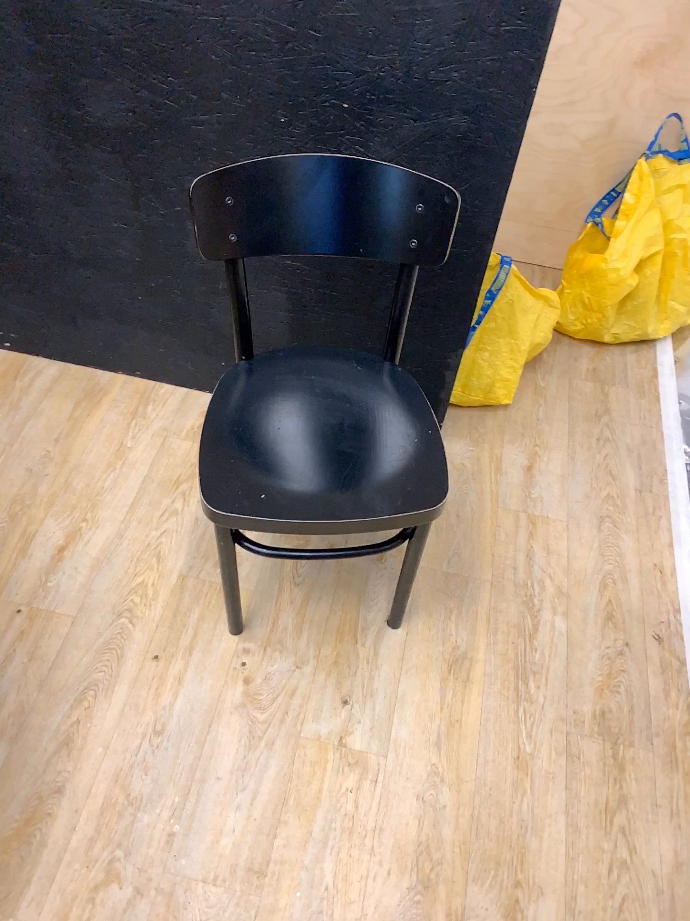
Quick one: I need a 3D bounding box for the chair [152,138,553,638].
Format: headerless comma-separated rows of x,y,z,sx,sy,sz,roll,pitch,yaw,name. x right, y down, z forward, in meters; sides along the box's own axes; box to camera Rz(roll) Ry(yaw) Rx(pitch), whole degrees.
-0.039,-0.075,1.165,0.440,0.698,0.442,-1,50,-8,chair
